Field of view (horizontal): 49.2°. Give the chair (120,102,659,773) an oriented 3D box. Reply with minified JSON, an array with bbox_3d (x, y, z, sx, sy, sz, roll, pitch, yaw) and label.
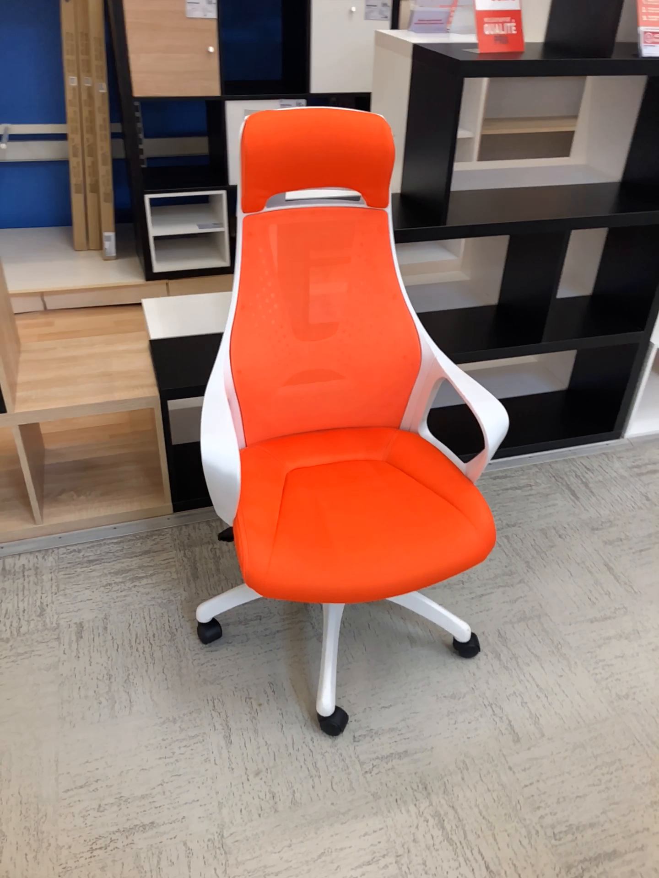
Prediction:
[{"bbox_3d":[-0.002,-0.042,1.465,0.681,1.053,0.753,-6,35,-13],"label":"chair"}]
